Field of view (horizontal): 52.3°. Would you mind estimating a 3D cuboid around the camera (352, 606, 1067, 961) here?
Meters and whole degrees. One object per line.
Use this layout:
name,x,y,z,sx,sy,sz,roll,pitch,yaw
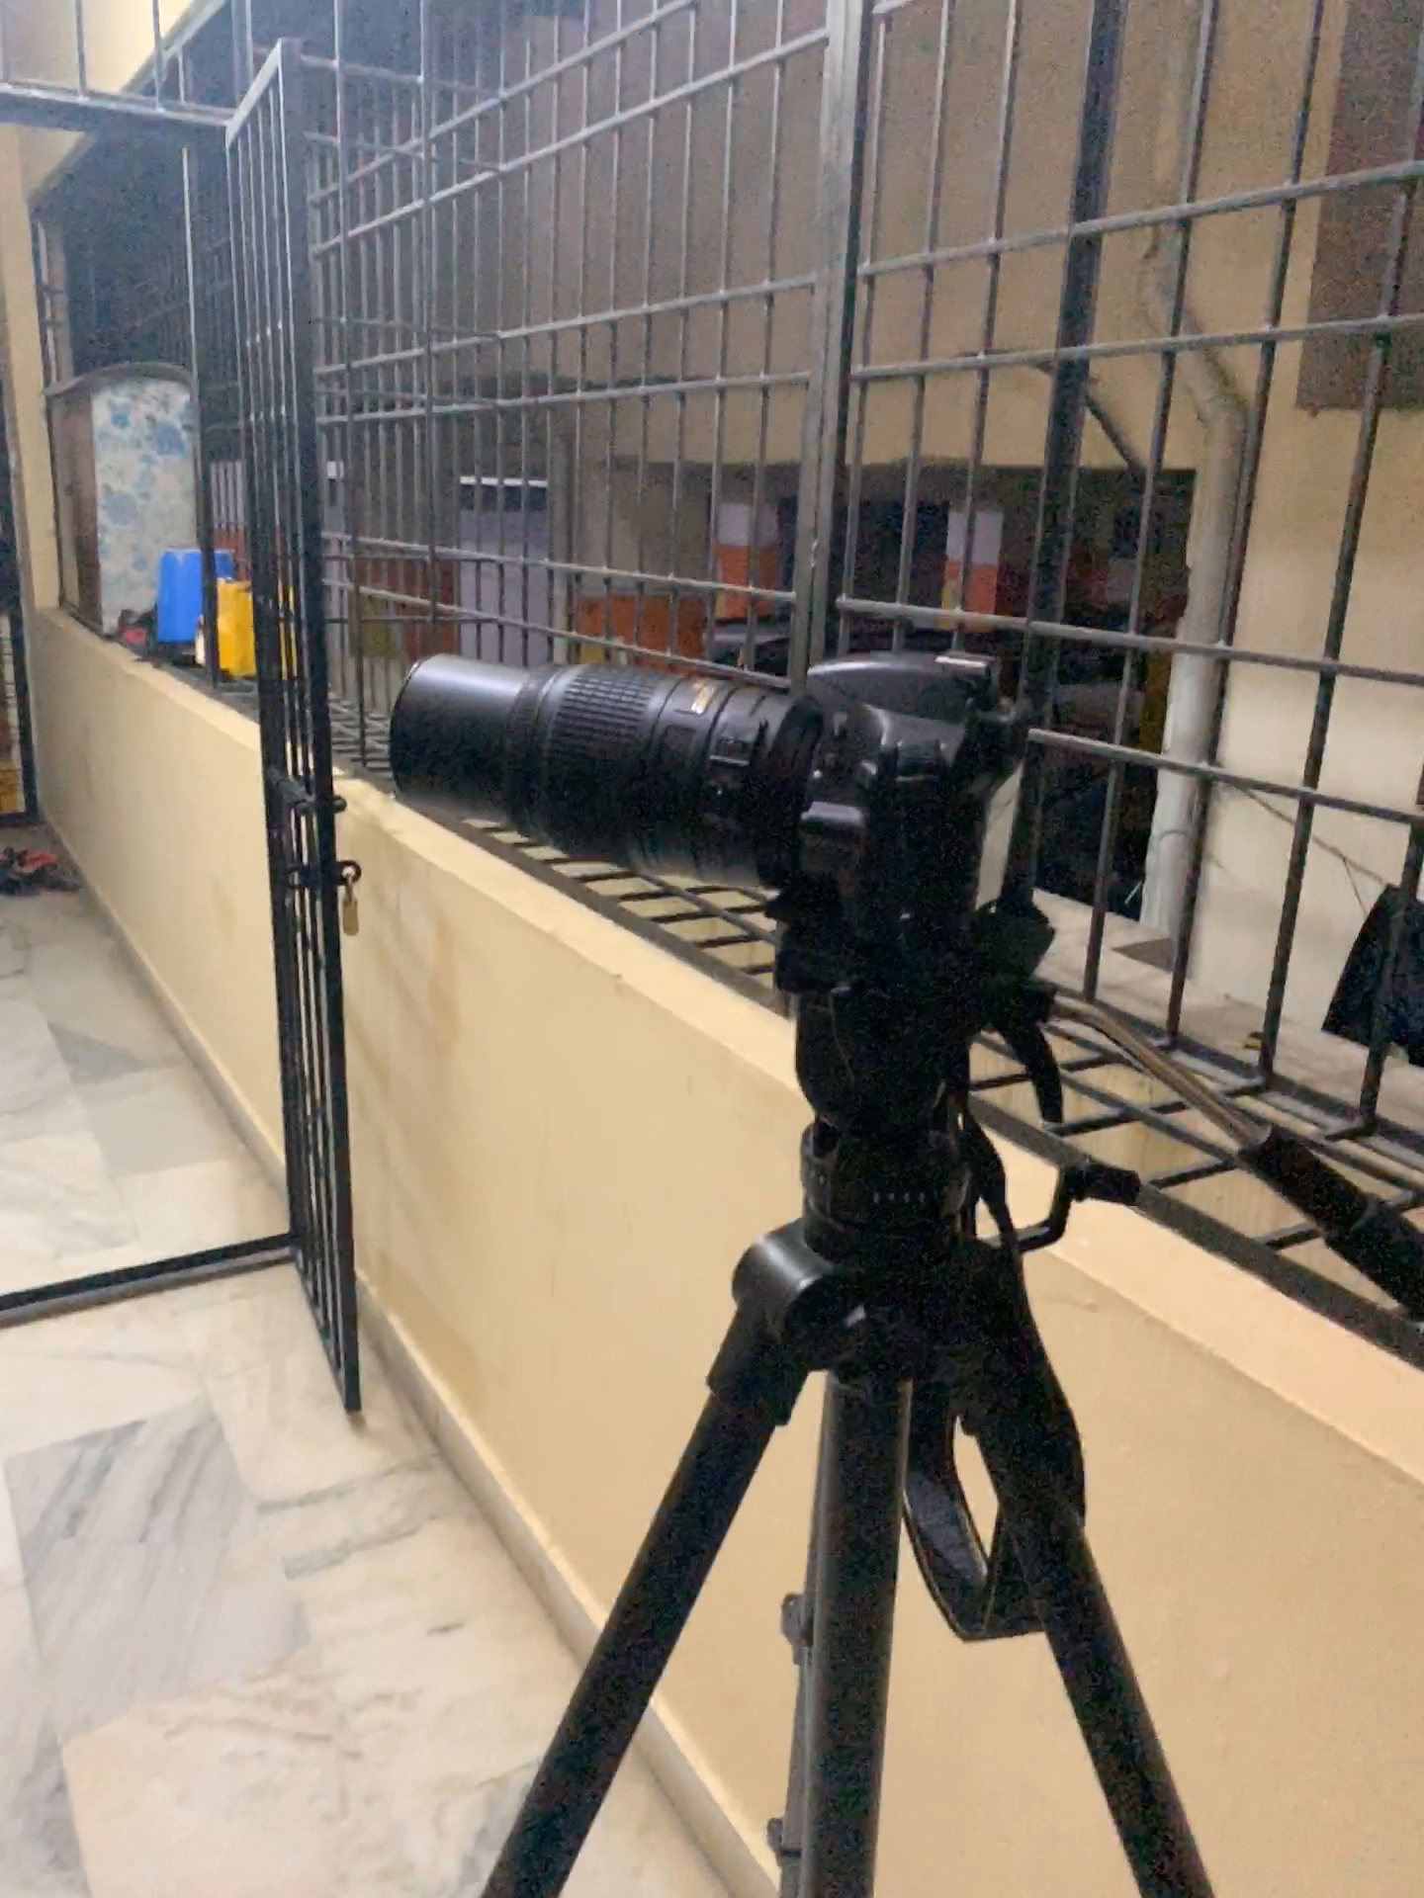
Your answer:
camera,0.002,-0.070,0.534,0.230,0.090,0.120,8,18,18
